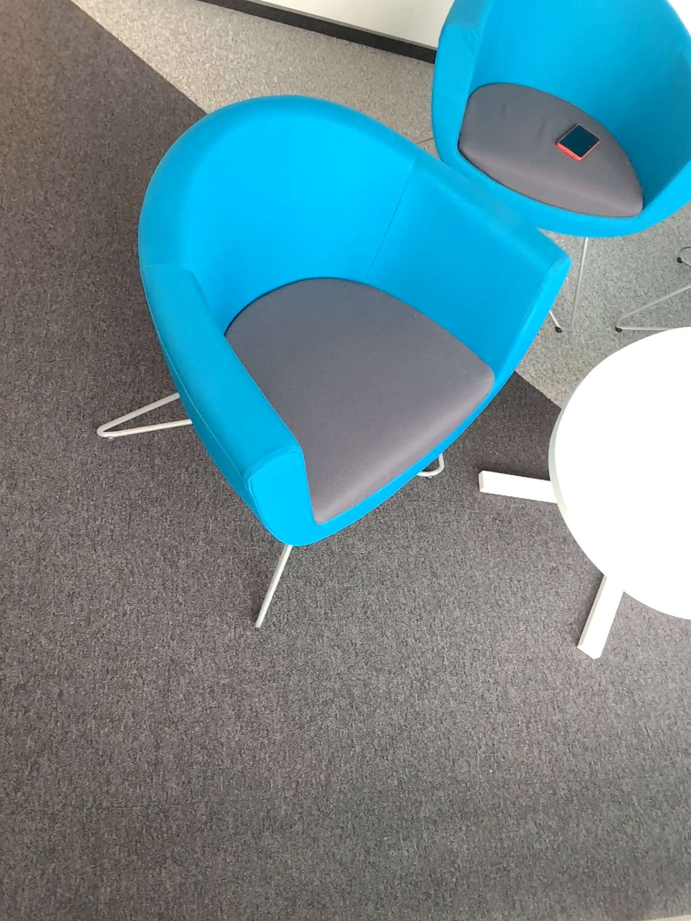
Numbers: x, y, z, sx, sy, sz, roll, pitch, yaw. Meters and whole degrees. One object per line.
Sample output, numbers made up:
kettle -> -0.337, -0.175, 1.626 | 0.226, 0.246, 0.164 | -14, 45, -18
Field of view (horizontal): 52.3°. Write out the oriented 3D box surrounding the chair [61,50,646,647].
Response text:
chair -> -0.043, -0.194, 1.415 | 0.713, 0.757, 0.640 | -36, 78, -31
